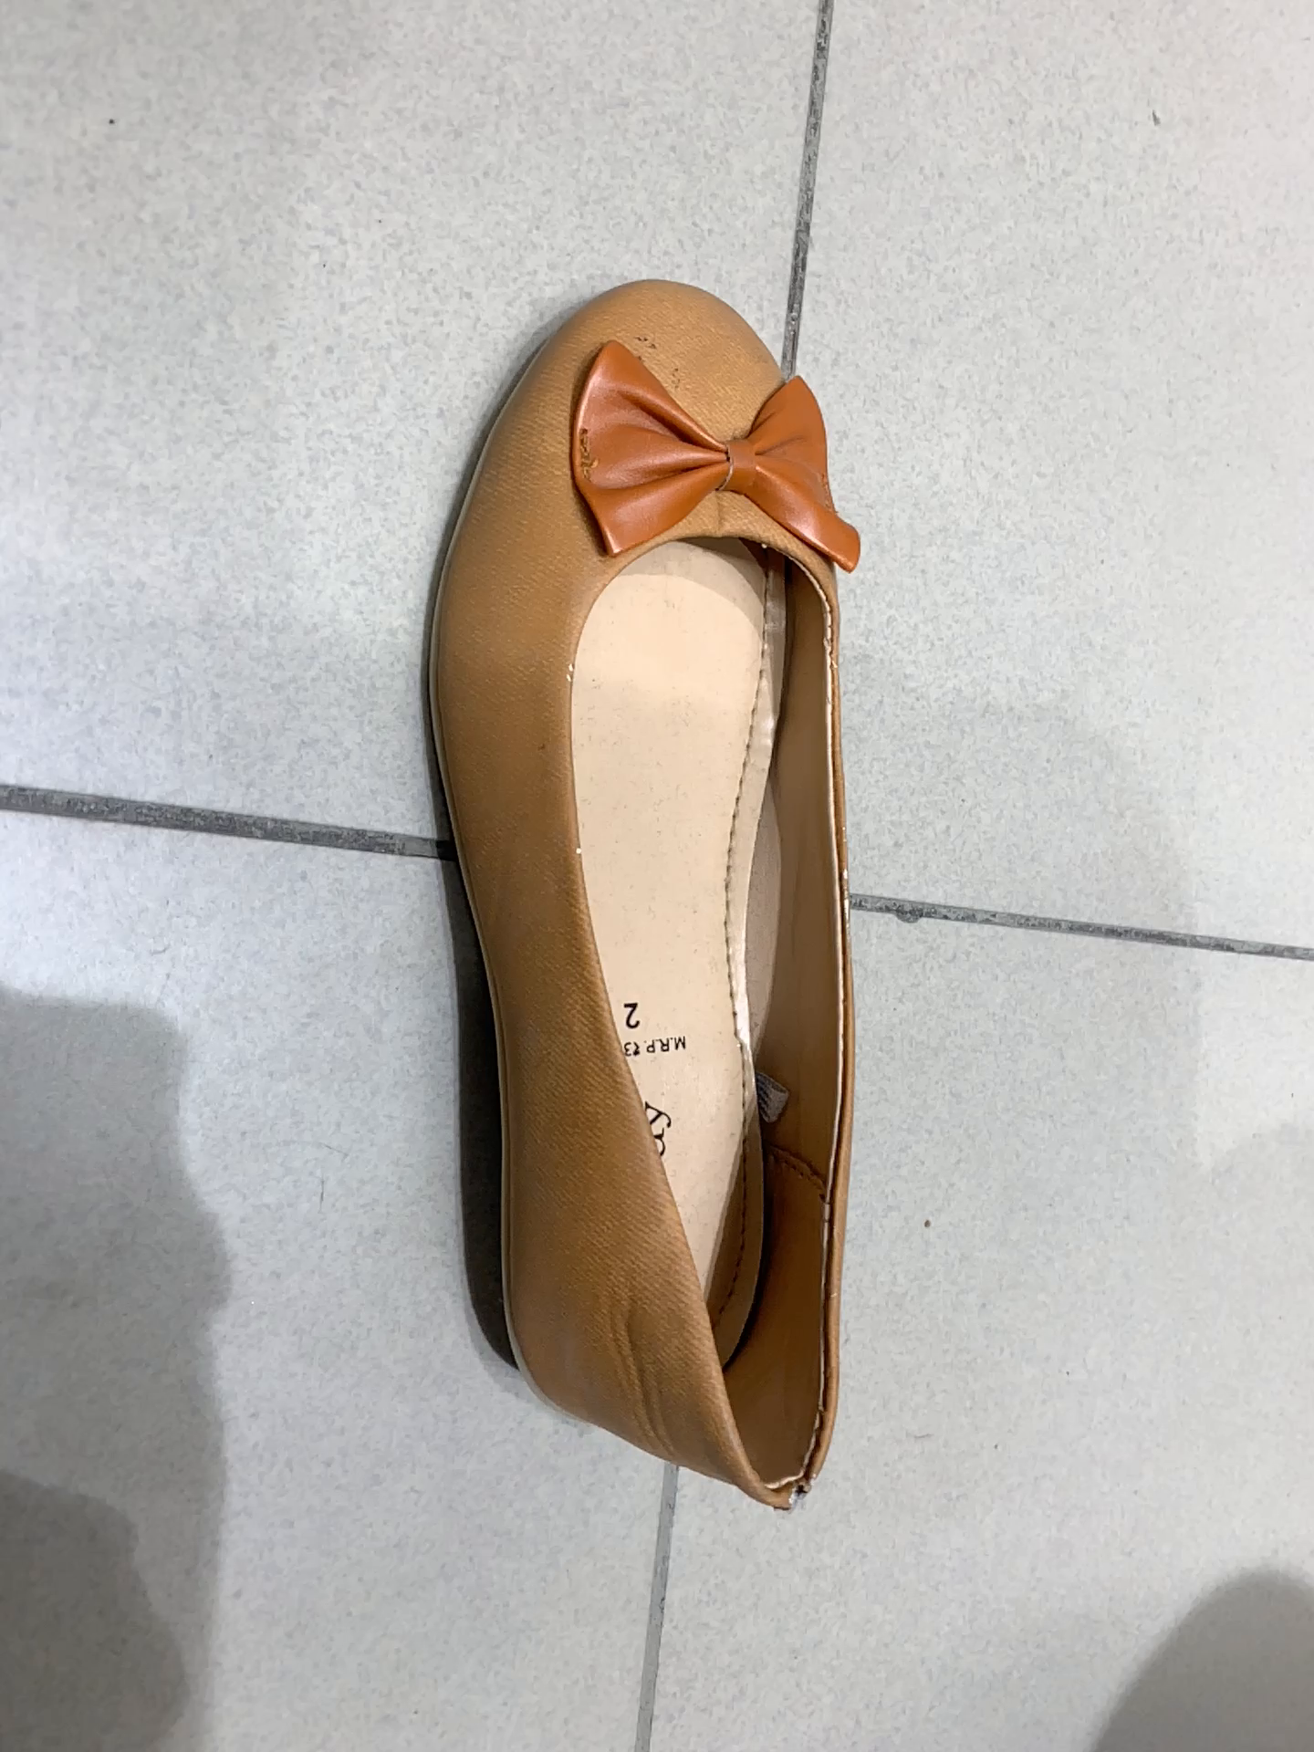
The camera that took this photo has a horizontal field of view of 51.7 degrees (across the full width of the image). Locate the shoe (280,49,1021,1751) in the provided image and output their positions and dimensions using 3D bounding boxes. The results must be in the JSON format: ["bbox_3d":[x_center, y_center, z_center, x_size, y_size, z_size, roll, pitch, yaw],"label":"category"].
[{"bbox_3d":[-0.003,0.005,0.226,0.080,0.070,0.220,5,90,-33],"label":"shoe"}]
